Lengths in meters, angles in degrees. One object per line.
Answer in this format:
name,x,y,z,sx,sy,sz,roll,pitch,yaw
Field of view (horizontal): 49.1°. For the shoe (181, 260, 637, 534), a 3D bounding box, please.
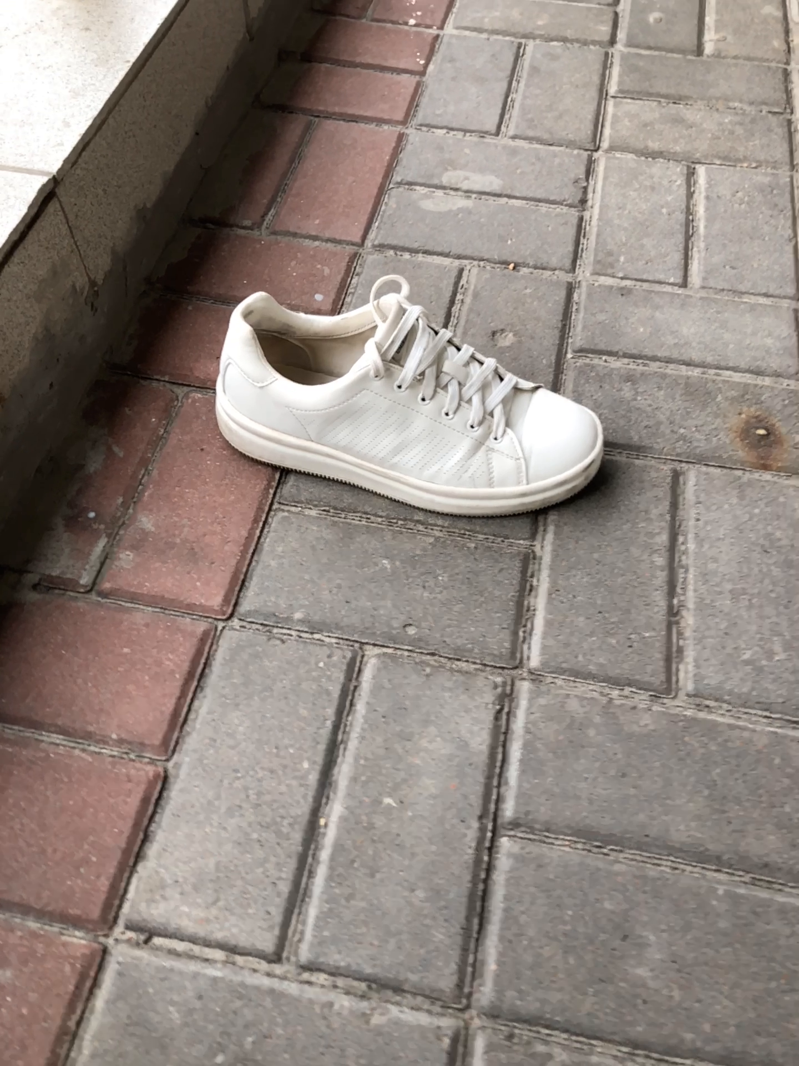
shoe,0.011,-0.099,0.636,0.292,0.119,0.111,8,53,8
